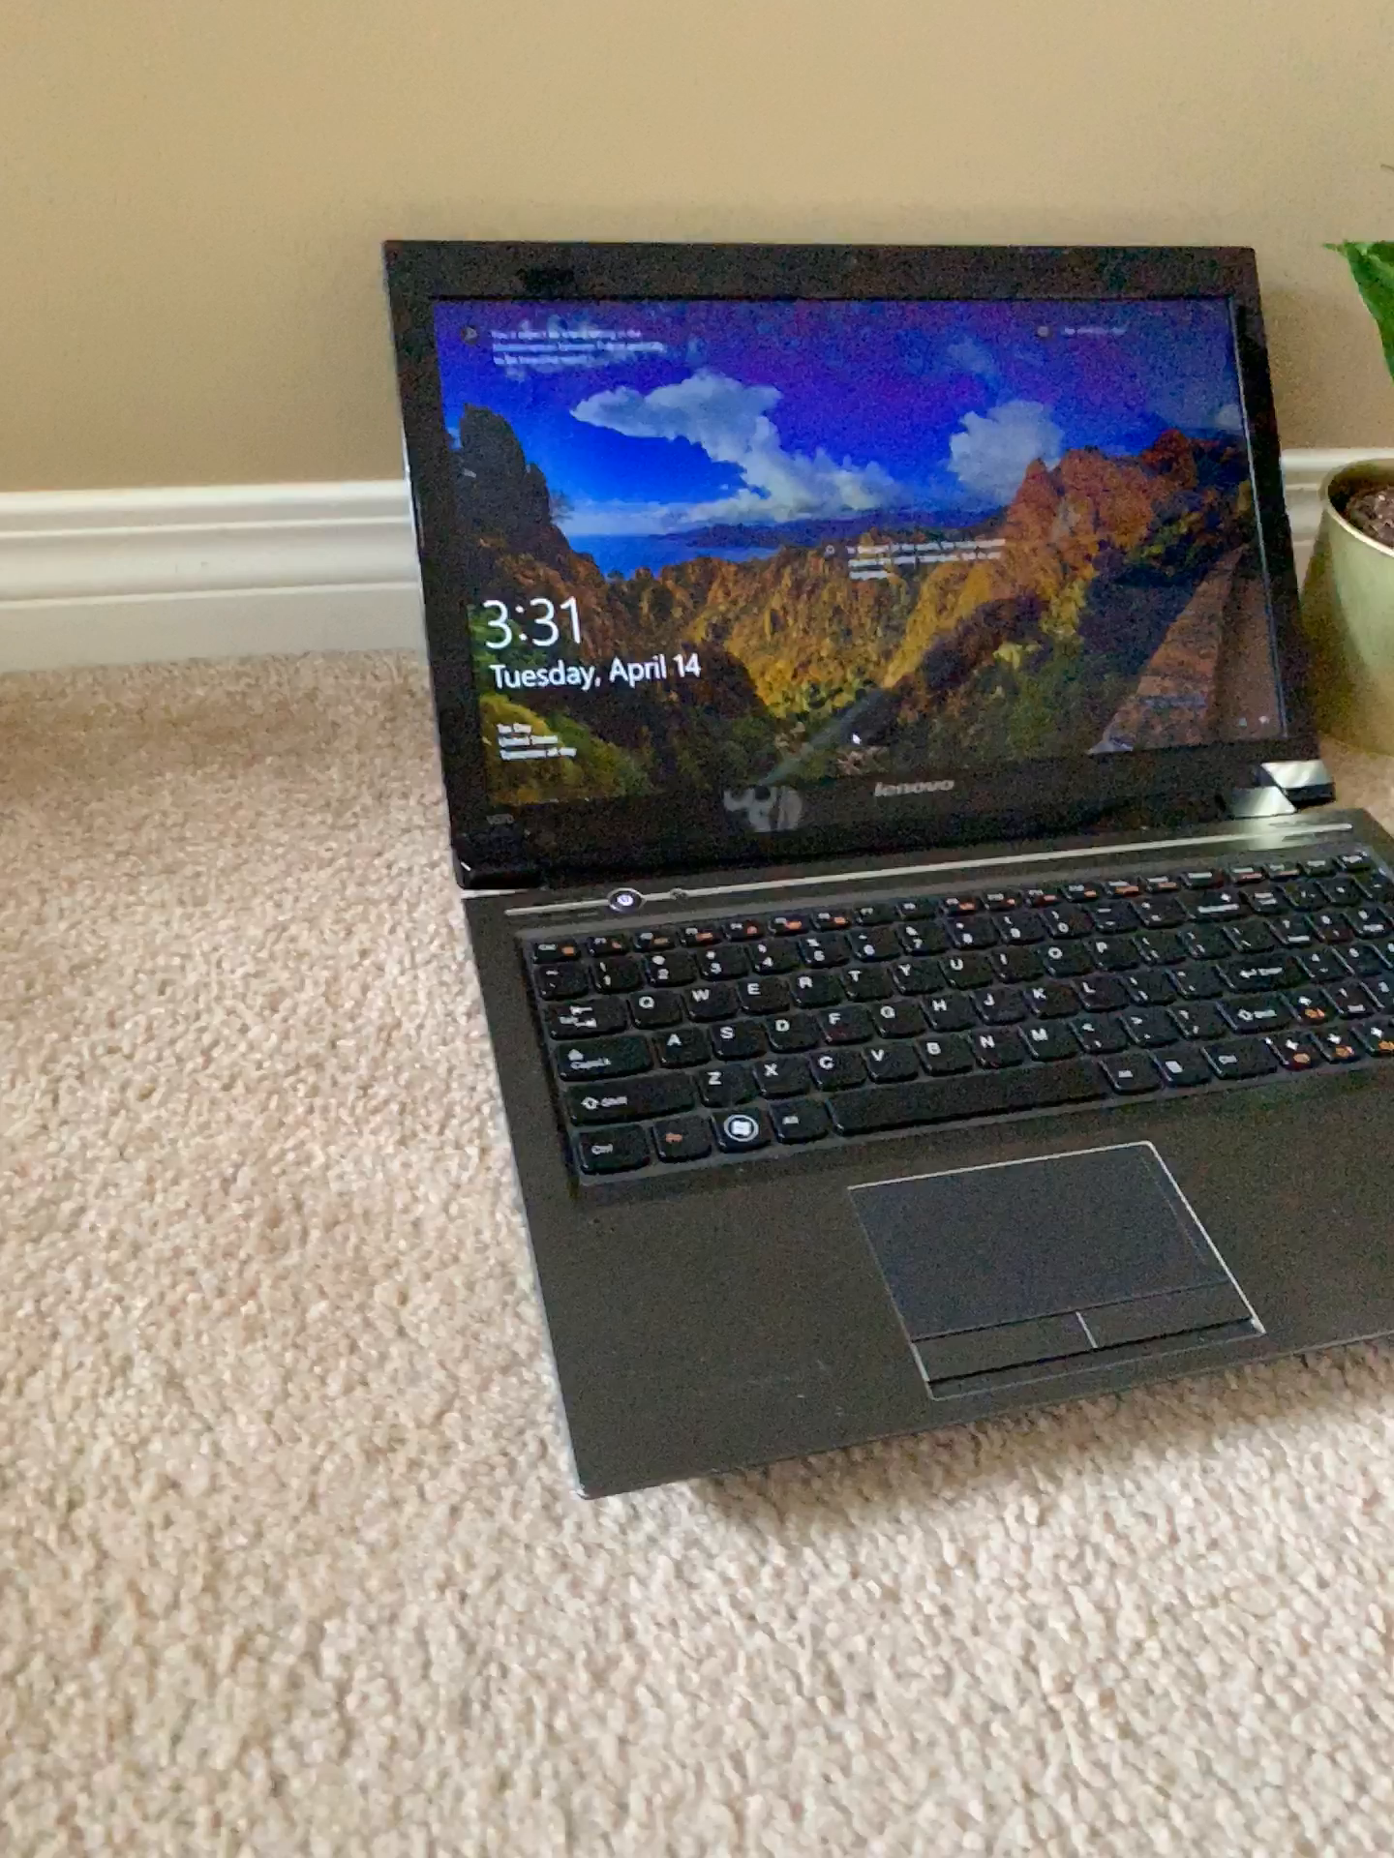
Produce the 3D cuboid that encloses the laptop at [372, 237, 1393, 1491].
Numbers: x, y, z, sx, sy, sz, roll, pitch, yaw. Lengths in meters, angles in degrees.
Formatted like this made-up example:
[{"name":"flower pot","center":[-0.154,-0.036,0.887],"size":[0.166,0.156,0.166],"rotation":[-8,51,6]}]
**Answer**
[{"name":"laptop","center":[0.106,-0.078,0.485],"size":[0.372,0.166,0.412],"rotation":[-6,43,-15]}]
